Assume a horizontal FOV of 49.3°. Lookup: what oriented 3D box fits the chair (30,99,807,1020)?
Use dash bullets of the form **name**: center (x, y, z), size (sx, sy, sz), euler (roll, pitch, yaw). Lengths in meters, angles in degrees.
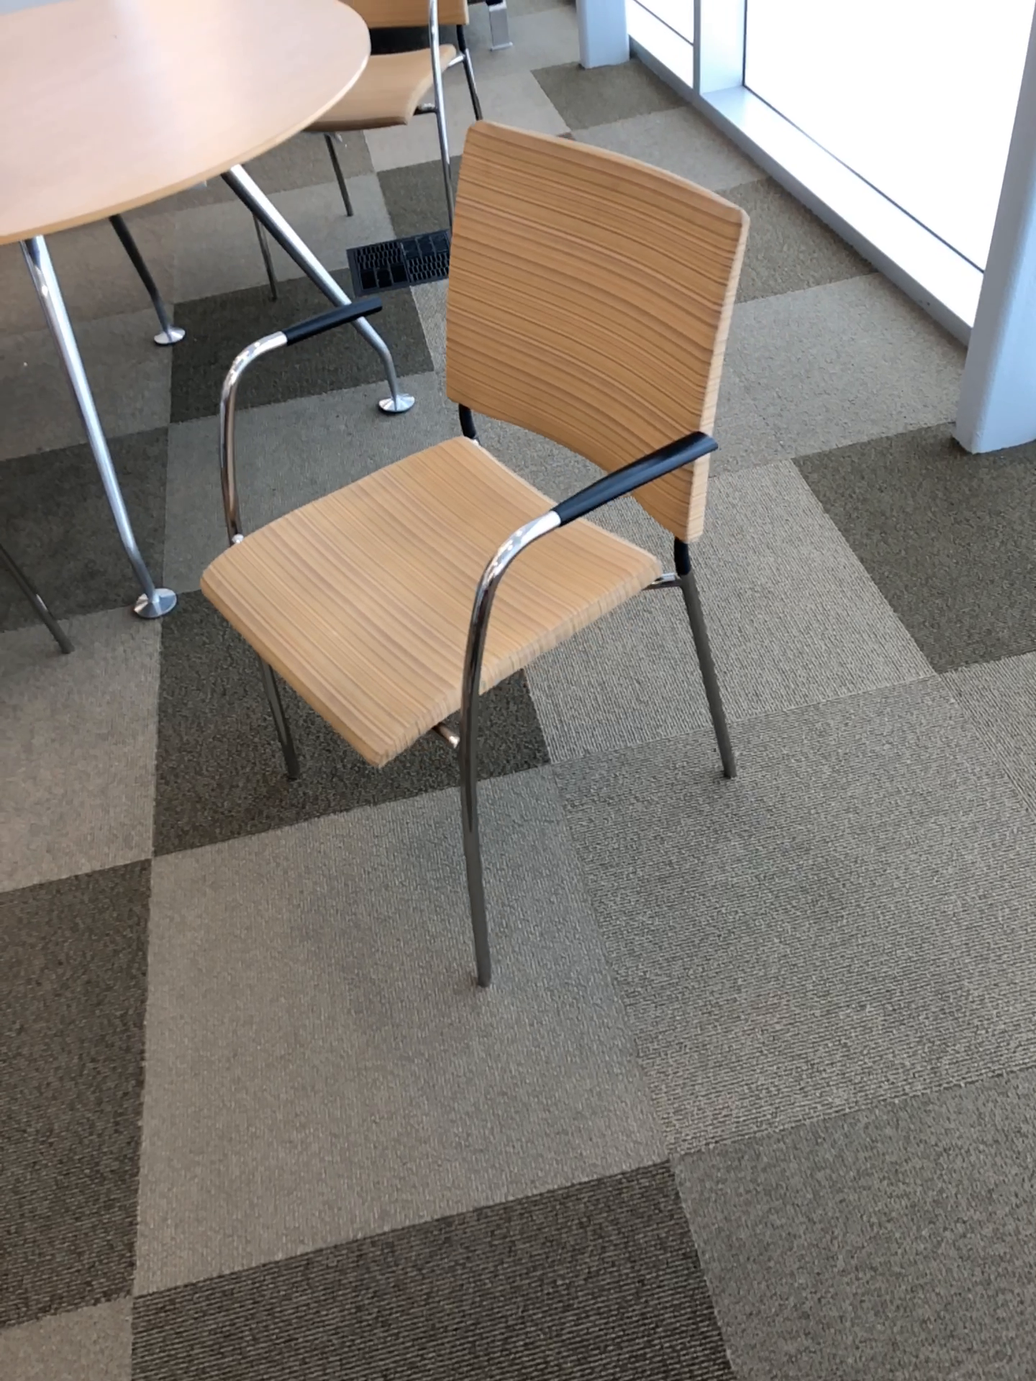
- **chair**: center (-0.066, -0.148, 1.349), size (0.547, 0.796, 0.516), euler (-33, 49, -22)
